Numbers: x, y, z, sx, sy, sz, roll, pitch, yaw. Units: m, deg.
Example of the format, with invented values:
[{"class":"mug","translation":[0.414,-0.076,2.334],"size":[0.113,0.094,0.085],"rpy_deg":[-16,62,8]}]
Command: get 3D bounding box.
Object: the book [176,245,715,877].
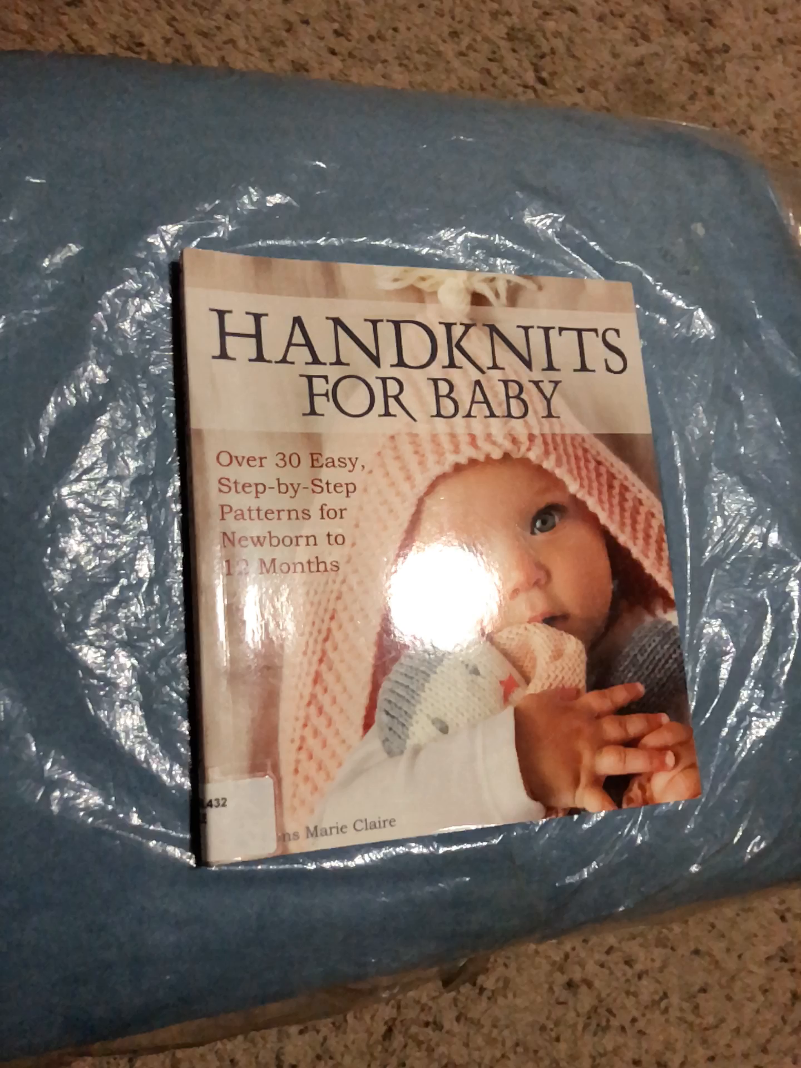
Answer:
[{"class":"book","translation":[0.019,0.002,0.345],"size":[0.197,0.020,0.220],"rpy_deg":[-2,81,-18]}]
